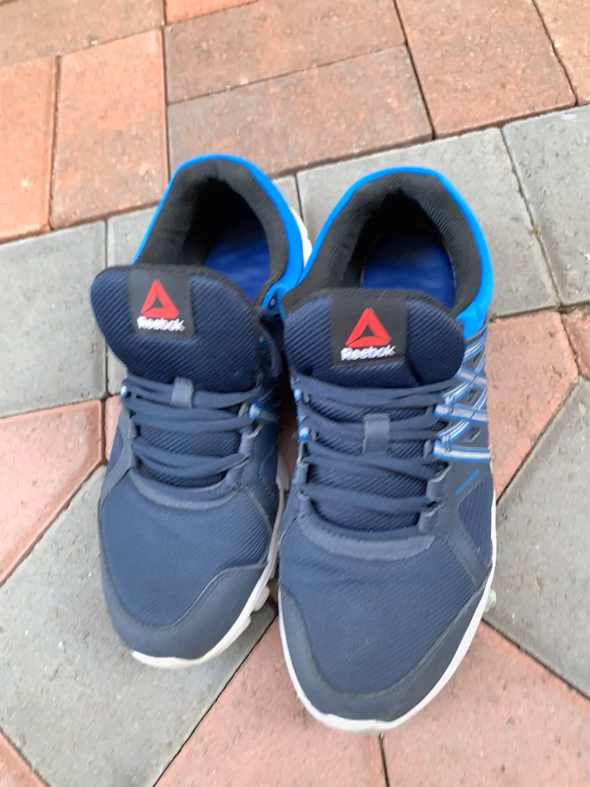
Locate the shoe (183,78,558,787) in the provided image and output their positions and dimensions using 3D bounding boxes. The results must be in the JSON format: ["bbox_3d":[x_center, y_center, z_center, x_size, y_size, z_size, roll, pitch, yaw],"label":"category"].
[{"bbox_3d":[0.051,0.008,0.290,0.110,0.119,0.281,5,70,14],"label":"shoe"}]

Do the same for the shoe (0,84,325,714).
[{"bbox_3d":[-0.067,-0.004,0.304,0.110,0.119,0.261,5,70,14],"label":"shoe"}]
